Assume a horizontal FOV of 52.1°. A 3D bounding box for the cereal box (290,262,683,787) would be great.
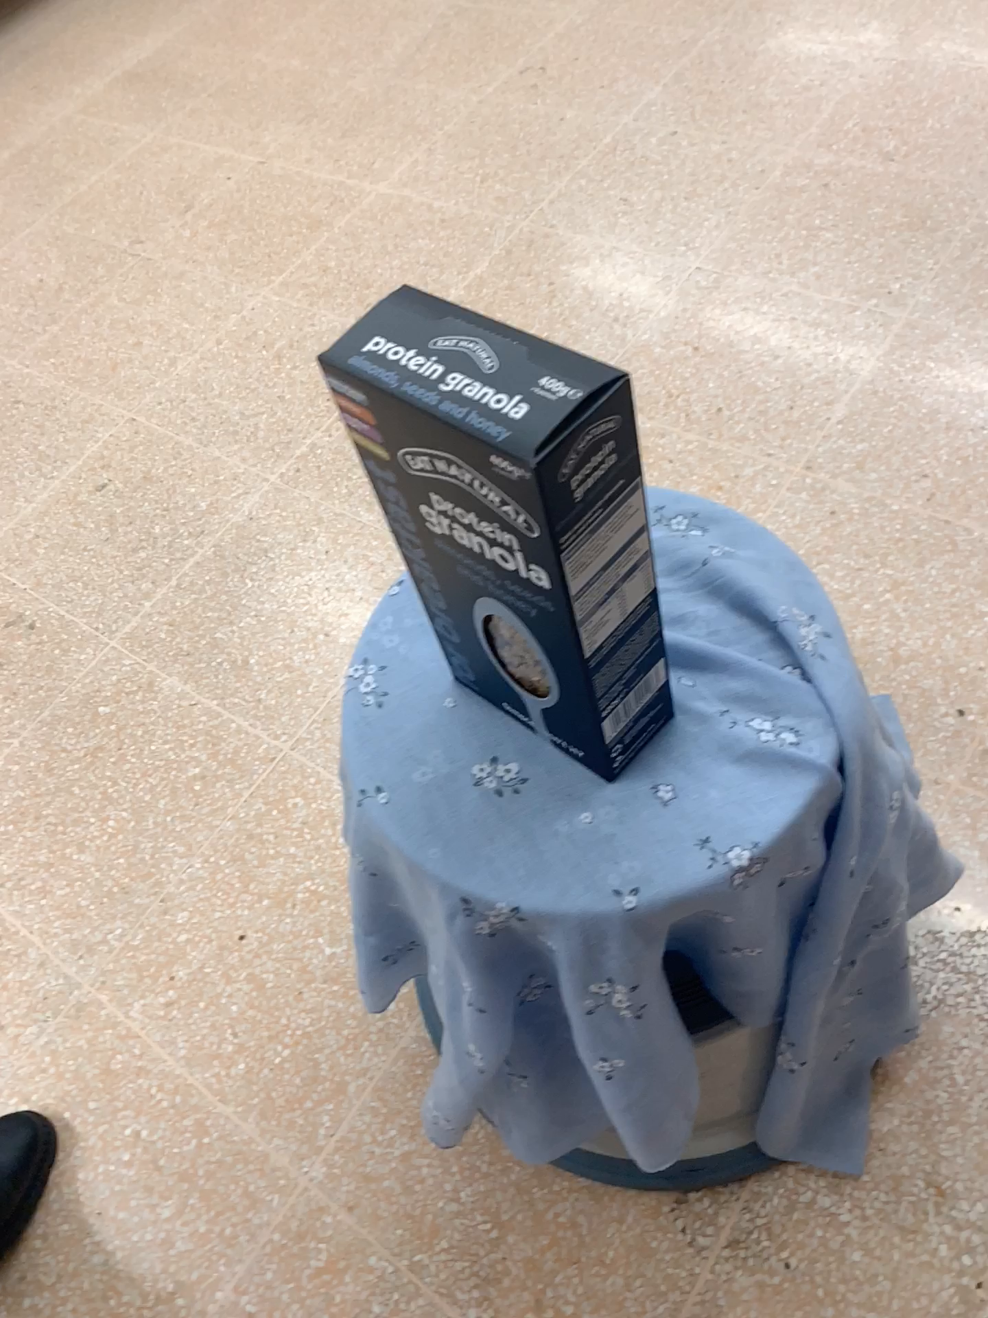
[{"bbox_3d":[0.011,-0.051,0.488,0.131,0.238,0.070,32,69,30],"label":"cereal box"}]
